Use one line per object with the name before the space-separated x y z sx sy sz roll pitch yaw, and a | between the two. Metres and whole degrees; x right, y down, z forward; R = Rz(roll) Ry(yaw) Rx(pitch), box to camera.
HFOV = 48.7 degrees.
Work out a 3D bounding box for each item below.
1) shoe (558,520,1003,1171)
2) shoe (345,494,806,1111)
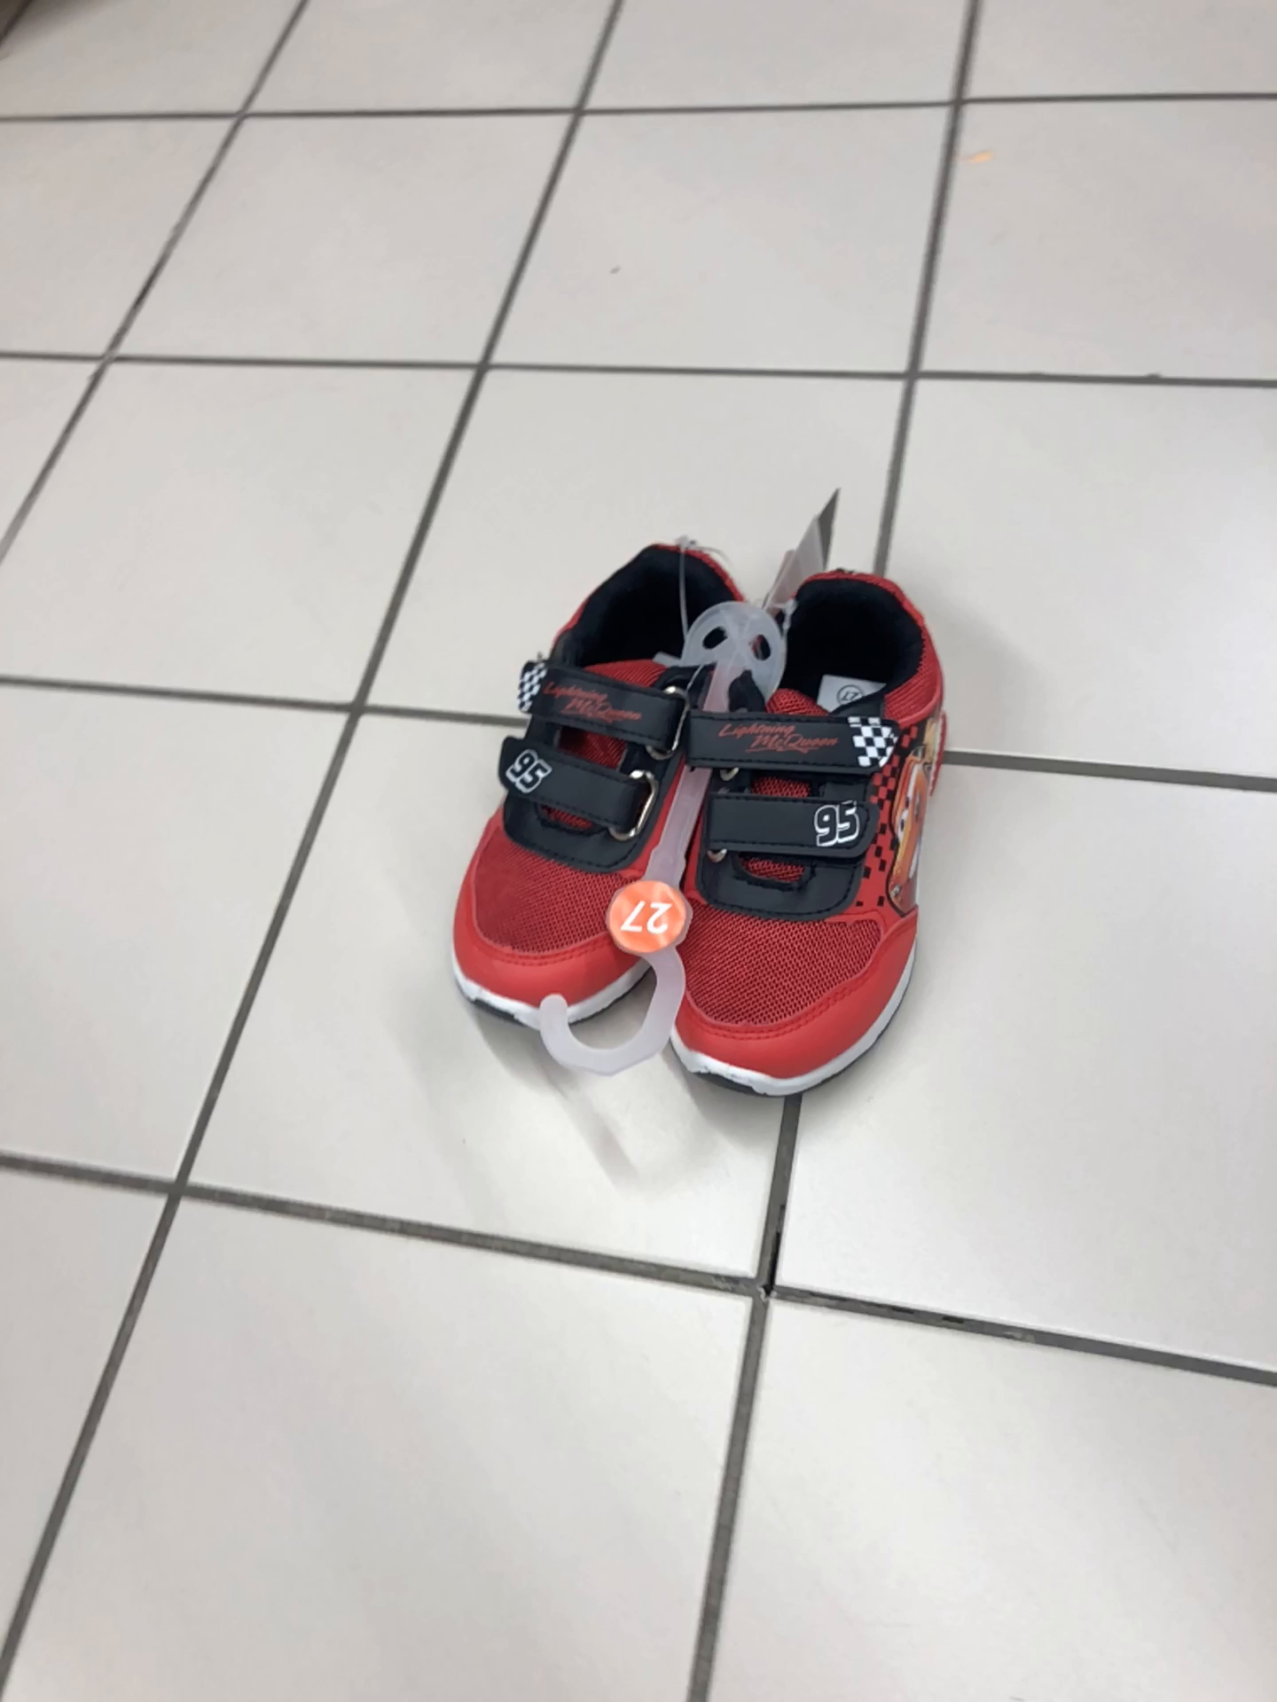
shoe | 0.055 -0.008 0.473 0.087 0.074 0.195 13 62 17
shoe | -0.012 -0.022 0.495 0.087 0.073 0.195 13 62 17
